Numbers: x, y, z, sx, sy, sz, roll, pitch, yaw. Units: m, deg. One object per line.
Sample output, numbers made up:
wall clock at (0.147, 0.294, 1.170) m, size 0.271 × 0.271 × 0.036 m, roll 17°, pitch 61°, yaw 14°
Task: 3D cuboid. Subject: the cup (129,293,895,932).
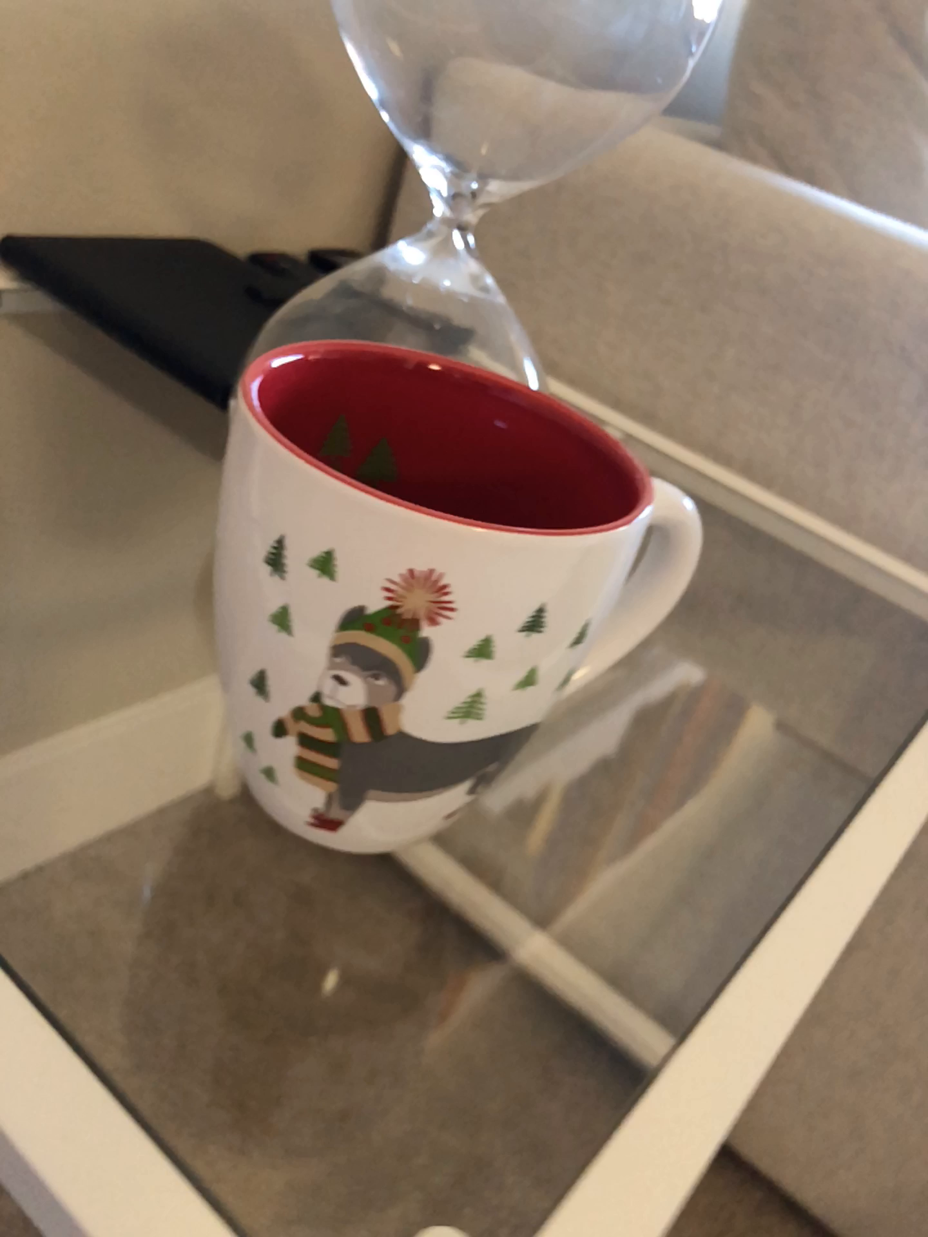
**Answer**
cup at (0.004, -0.005, 0.279) m, size 0.150 × 0.109 × 0.100 m, roll -1°, pitch 35°, yaw -30°
